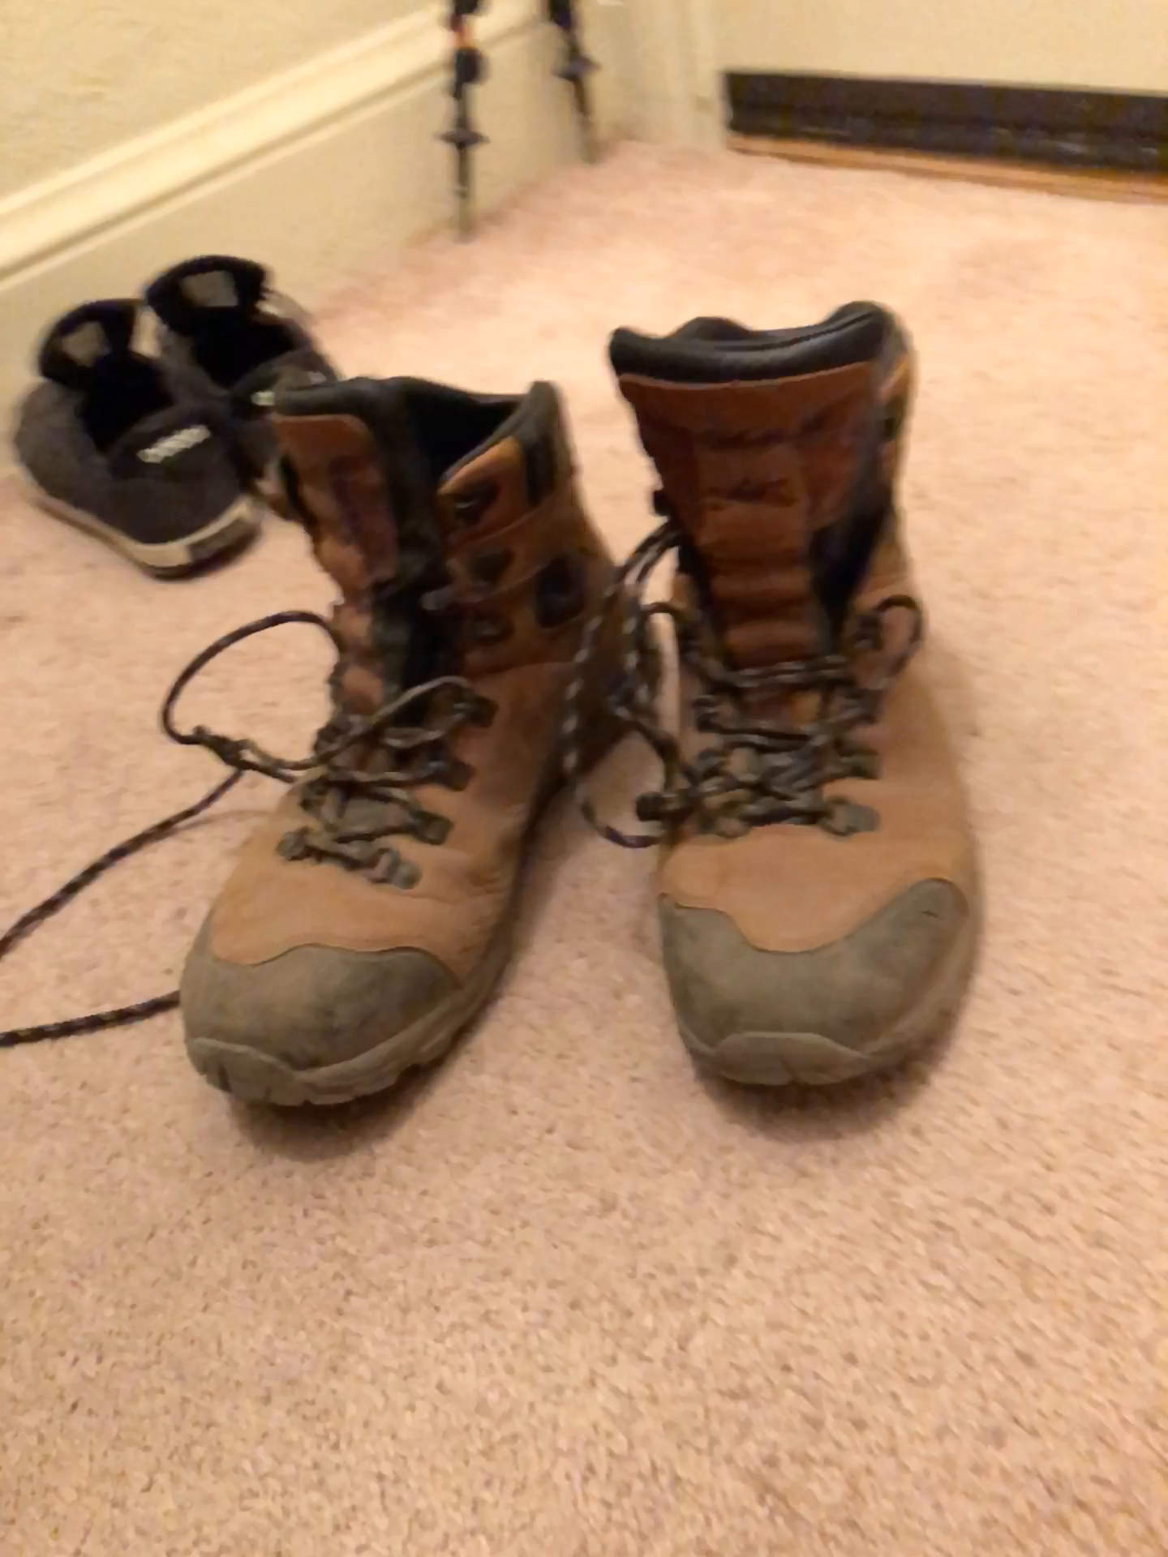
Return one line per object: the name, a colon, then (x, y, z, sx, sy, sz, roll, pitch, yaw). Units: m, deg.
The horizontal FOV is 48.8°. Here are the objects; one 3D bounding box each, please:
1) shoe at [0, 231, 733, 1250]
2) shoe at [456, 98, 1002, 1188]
shoe: (-0.063, -0.031, 0.492, 0.120, 0.219, 0.312, 8, 48, 25)
shoe: (0.085, -0.059, 0.462, 0.120, 0.229, 0.312, 0, 45, 17)
